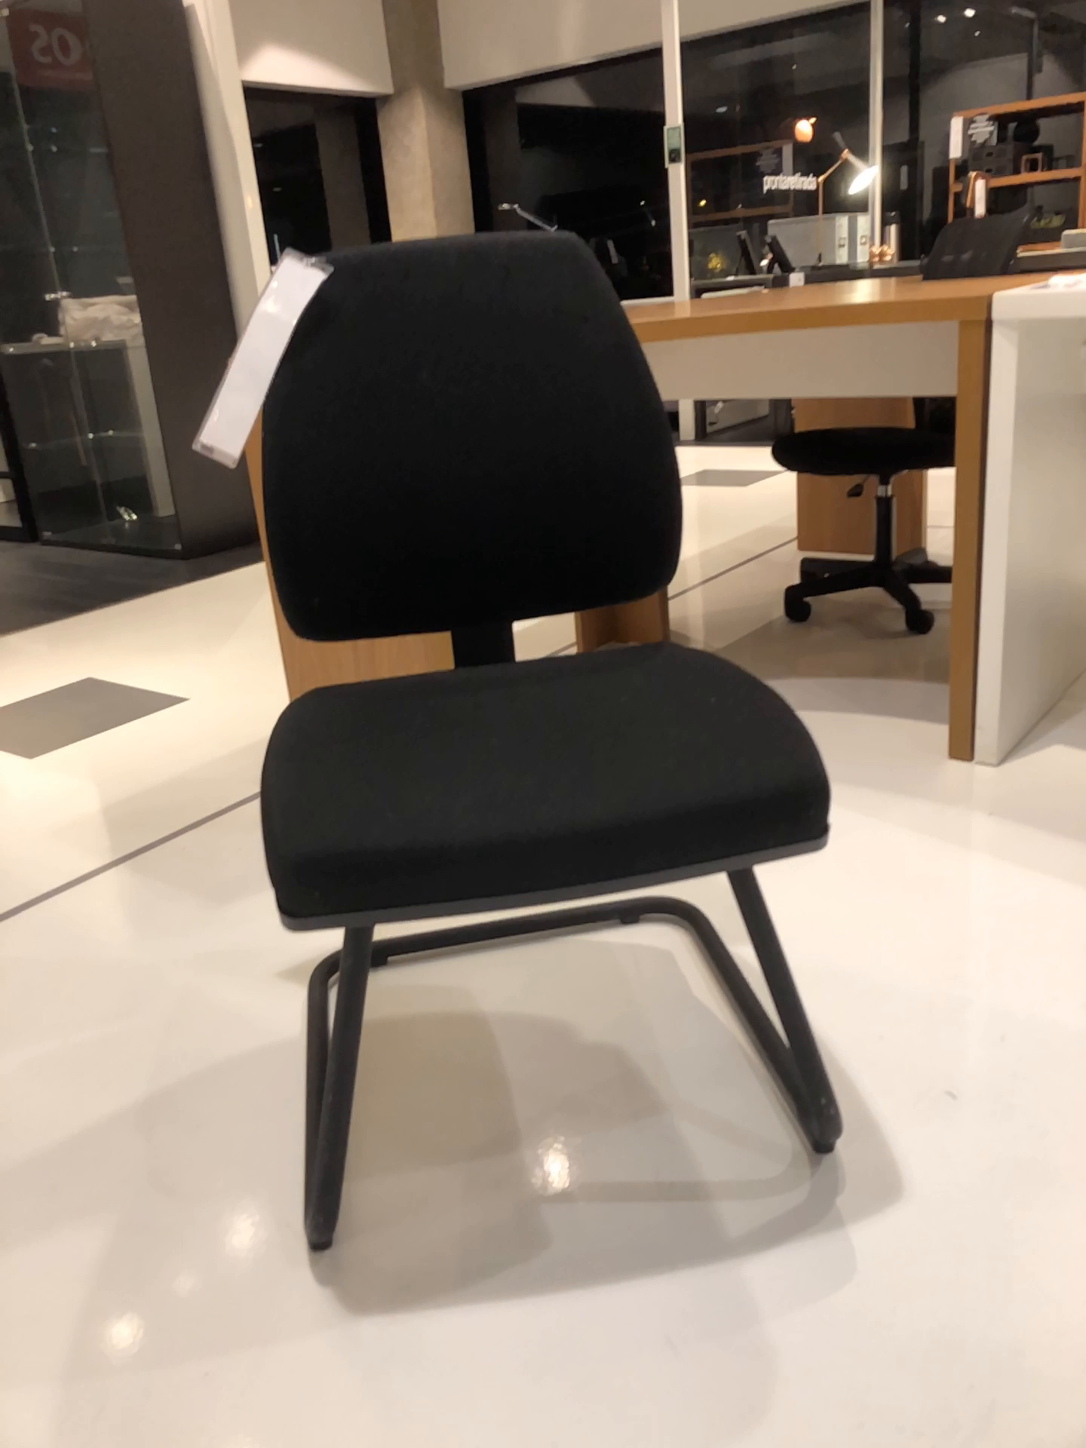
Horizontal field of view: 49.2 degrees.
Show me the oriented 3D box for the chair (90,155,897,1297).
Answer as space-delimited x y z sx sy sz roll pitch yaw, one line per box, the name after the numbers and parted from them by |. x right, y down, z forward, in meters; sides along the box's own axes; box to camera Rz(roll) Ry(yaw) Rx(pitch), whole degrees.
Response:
-0.035 -0.041 1.199 0.550 0.875 0.563 -9 20 -9 | chair
